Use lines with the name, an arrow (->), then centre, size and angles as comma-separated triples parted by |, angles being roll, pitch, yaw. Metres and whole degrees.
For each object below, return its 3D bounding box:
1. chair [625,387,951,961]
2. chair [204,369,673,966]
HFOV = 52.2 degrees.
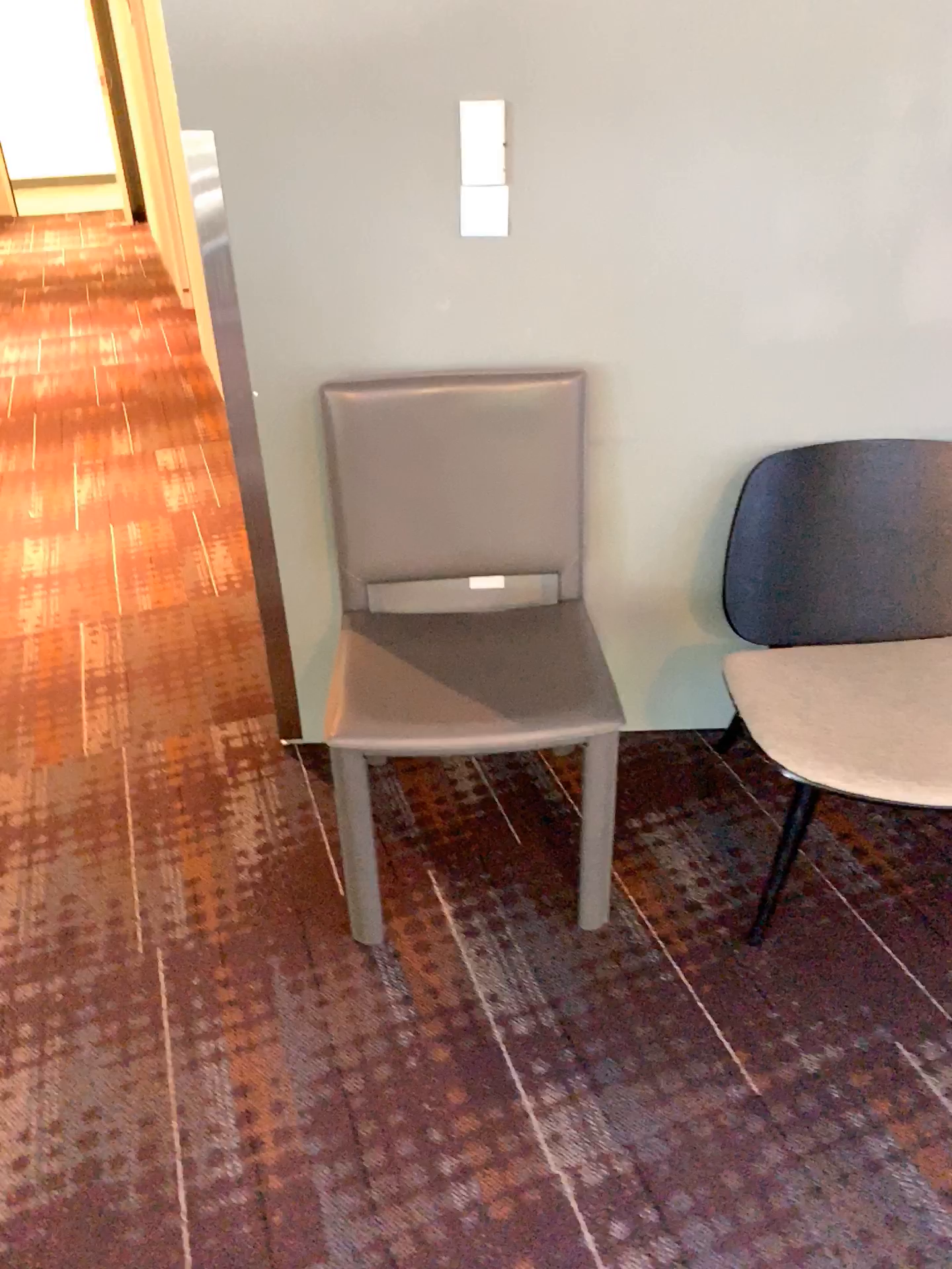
chair -> 0.789, 0.048, 1.947 | 0.790, 0.835, 0.714 | -4, 32, -4
chair -> -0.067, 0.035, 1.835 | 0.640, 0.835, 0.694 | -4, 32, -4
